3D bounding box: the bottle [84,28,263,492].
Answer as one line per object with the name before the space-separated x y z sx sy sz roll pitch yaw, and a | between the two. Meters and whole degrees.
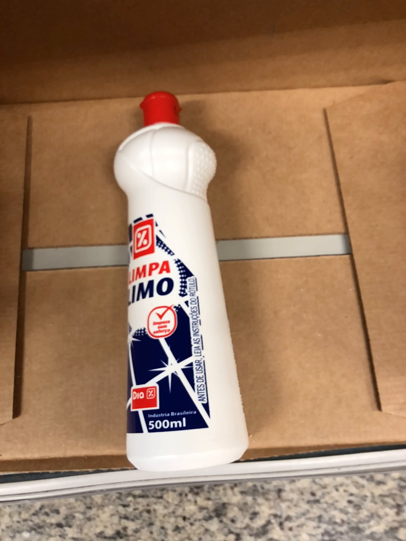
bottle | -0.023 -0.016 0.280 0.080 0.060 0.260 -5 75 -1
